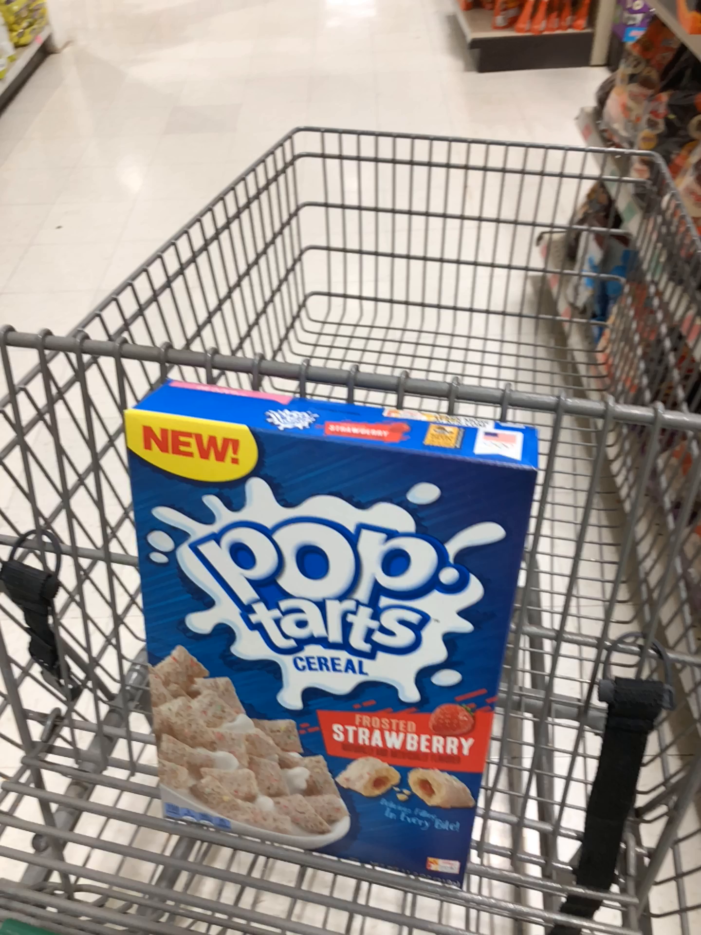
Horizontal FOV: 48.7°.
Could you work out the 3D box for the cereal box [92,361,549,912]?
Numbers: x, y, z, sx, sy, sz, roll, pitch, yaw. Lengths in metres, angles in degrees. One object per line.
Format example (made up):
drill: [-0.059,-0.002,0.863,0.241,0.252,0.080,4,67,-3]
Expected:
cereal box: [-0.018,0.096,0.411,0.200,0.280,0.050,8,27,12]
